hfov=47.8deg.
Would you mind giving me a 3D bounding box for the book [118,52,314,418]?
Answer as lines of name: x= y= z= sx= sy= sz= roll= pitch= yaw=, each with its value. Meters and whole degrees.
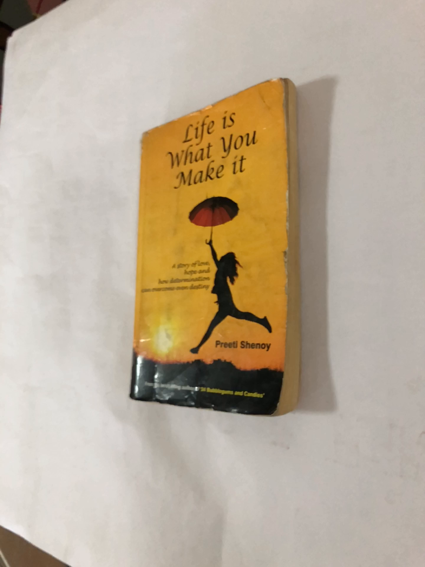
book: x=-0.003 y=-0.026 z=0.319 sx=0.141 sy=0.020 sz=0.210 roll=-5 pitch=79 yaw=37
